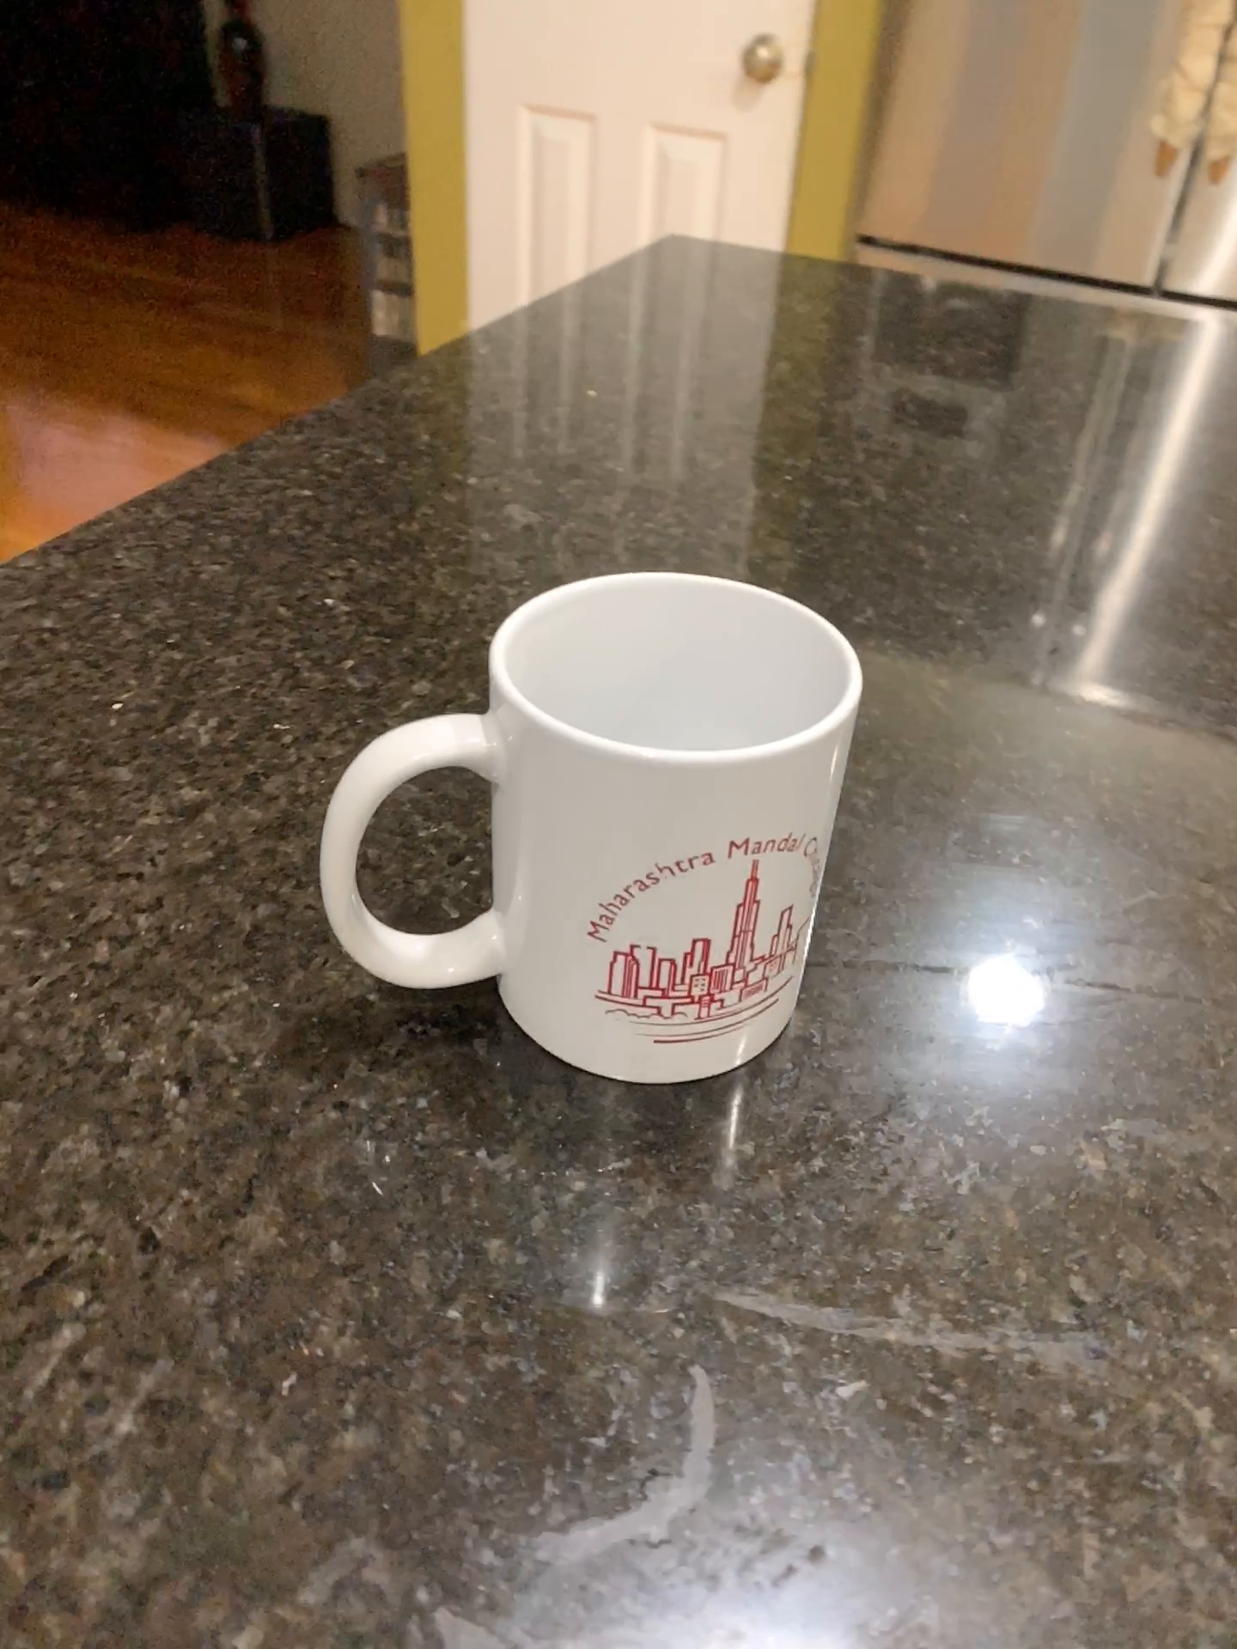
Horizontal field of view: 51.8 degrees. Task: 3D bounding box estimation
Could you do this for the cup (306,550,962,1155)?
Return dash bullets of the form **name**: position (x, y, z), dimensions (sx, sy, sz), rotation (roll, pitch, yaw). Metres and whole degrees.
- **cup**: position (-0.002, 0.002, 0.305), dimensions (0.124, 0.097, 0.082), rotation (-9, 38, -16)
